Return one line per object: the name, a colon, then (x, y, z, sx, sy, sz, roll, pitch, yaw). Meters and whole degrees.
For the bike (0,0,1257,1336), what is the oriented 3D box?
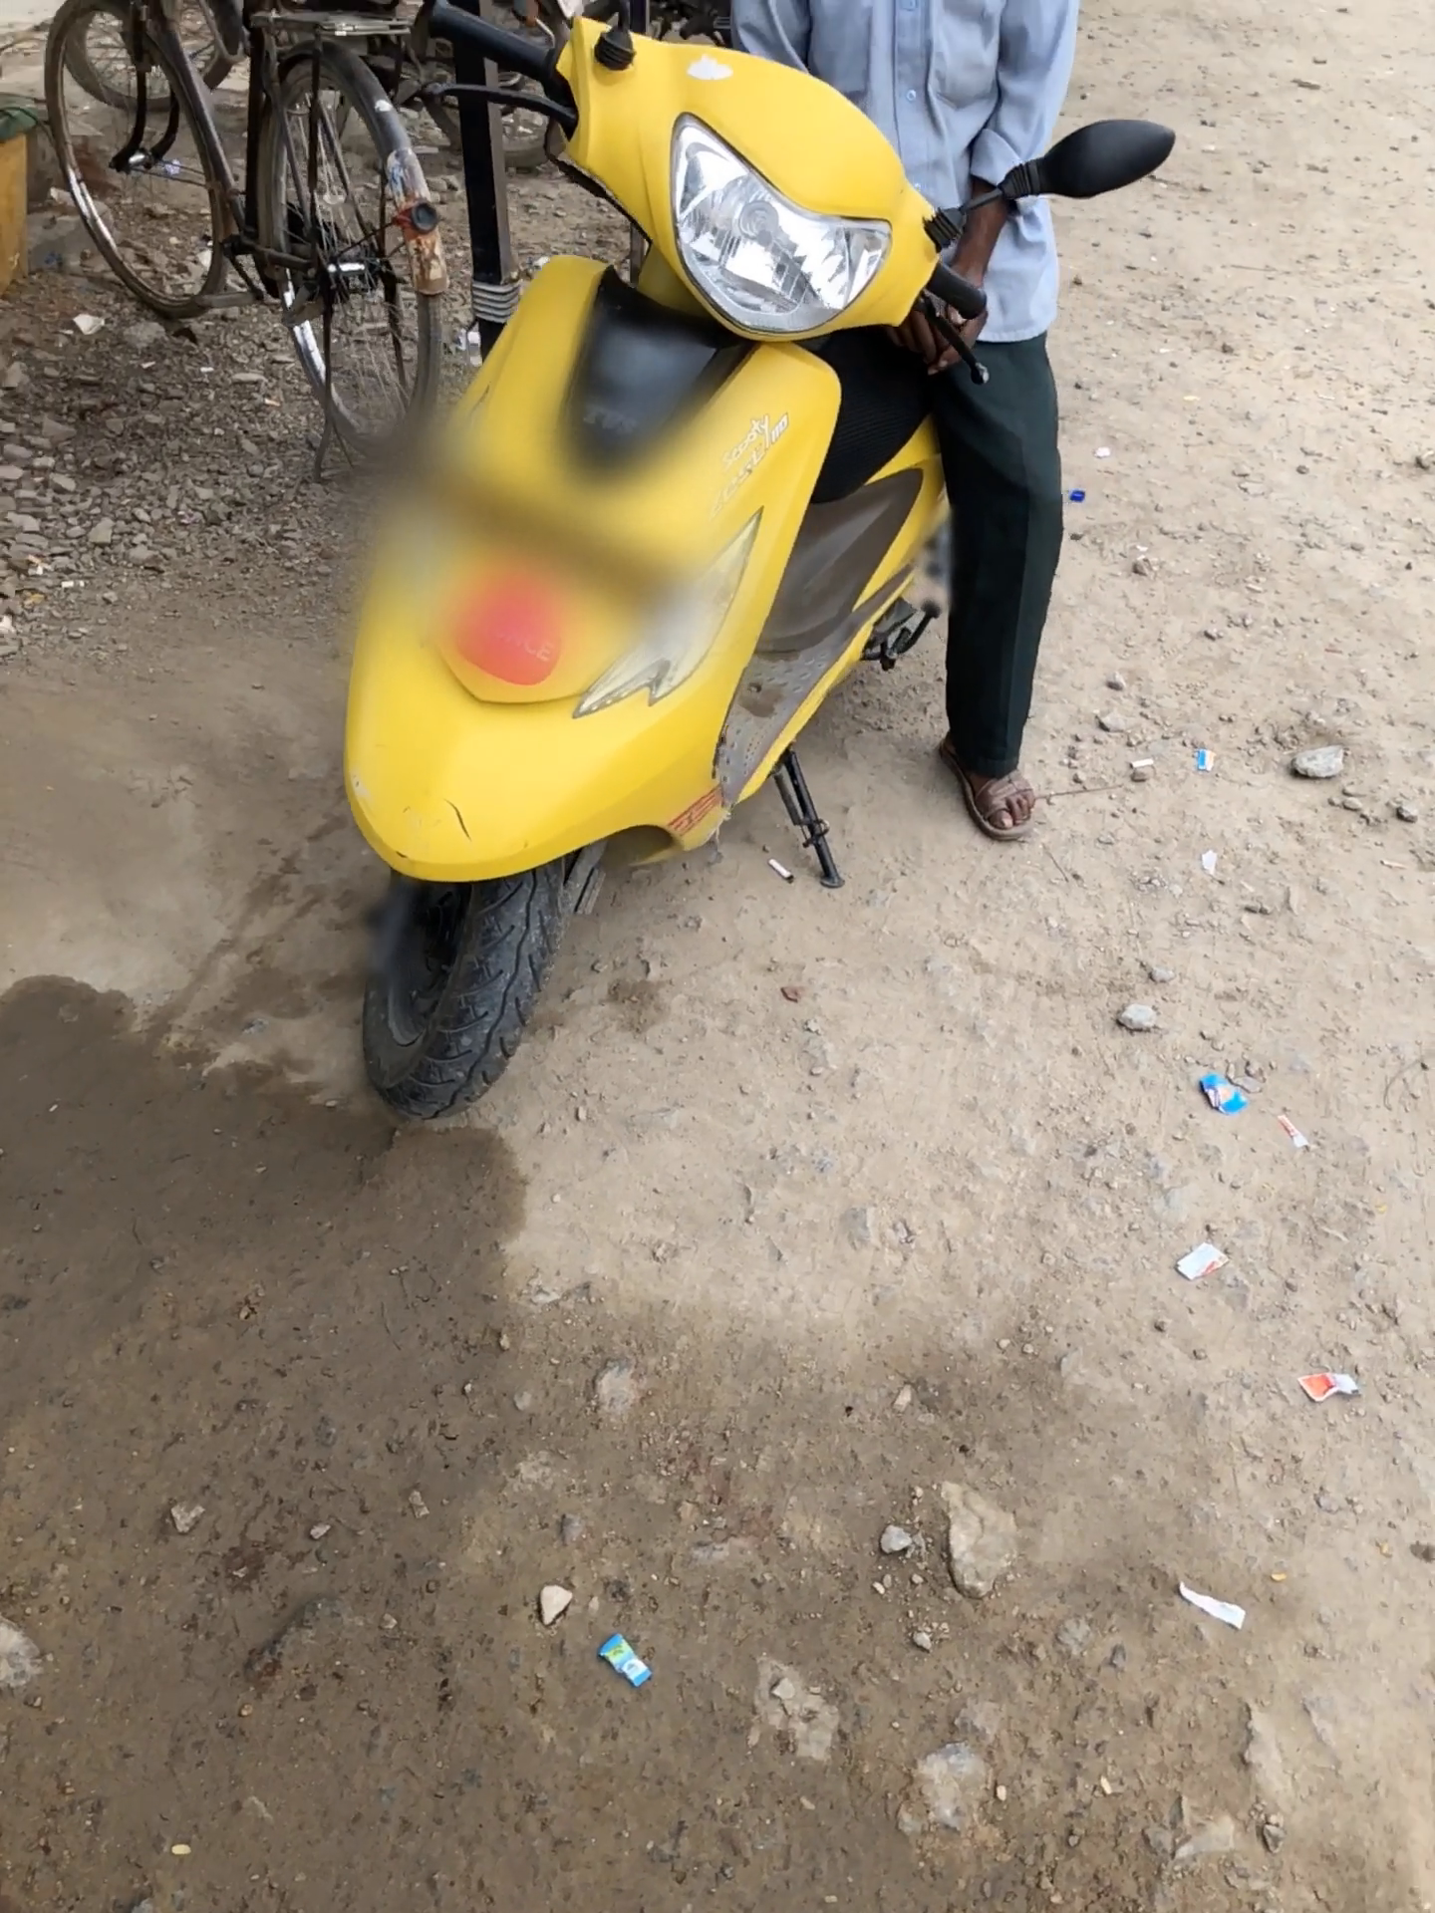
bike: (0.022, -0.619, 2.205, 0.888, 1.160, 1.665, 17, 43, 15)
